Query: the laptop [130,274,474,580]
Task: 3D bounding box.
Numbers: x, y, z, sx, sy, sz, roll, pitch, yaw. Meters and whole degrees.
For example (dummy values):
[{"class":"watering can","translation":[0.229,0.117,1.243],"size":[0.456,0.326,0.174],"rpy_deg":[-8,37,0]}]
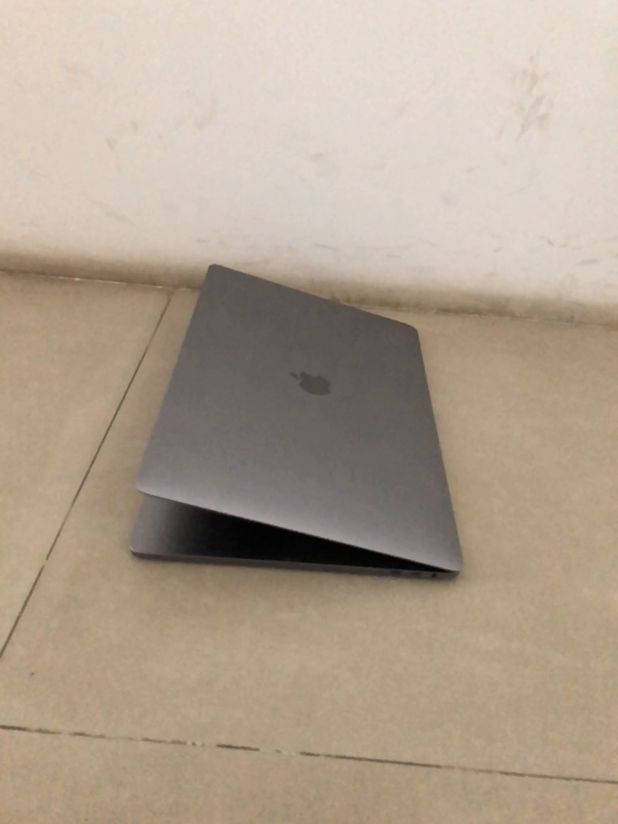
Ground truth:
[{"class":"laptop","translation":[0.001,-0.013,0.604],"size":[0.232,0.057,0.337],"rpy_deg":[5,37,0]}]
